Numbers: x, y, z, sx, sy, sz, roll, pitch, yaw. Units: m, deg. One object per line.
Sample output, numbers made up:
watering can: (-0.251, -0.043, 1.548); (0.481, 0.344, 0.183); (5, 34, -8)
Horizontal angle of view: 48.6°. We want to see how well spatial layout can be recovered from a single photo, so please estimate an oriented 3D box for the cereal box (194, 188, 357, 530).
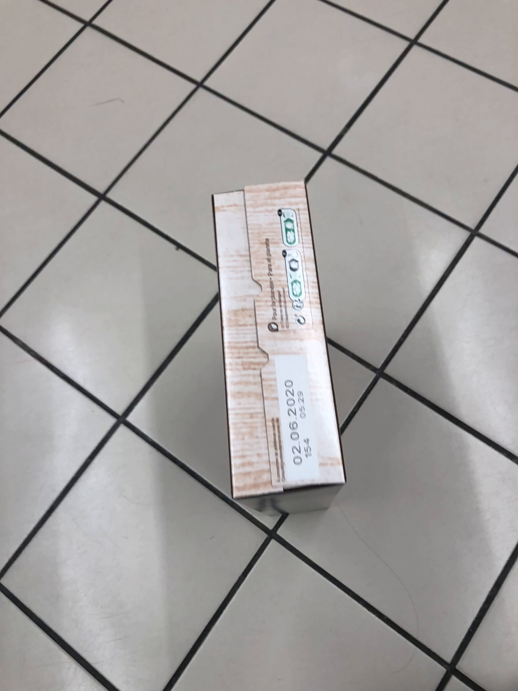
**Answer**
cereal box: (0.014, 0.041, 0.471); (0.070, 0.279, 0.200); (-8, 71, 1)
